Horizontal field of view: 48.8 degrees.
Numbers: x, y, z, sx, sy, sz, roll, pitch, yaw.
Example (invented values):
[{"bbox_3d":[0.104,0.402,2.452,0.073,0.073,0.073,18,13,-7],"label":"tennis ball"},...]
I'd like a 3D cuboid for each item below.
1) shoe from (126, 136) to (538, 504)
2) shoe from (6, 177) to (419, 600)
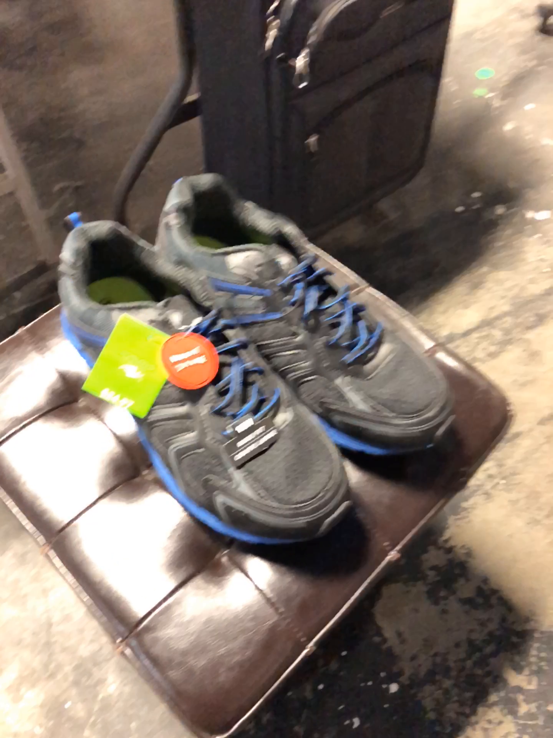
[{"bbox_3d":[0.032,-0.053,0.513,0.311,0.099,0.130,39,63,20],"label":"shoe"},{"bbox_3d":[-0.055,0.005,0.449,0.120,0.119,0.281,-36,66,-23],"label":"shoe"}]
